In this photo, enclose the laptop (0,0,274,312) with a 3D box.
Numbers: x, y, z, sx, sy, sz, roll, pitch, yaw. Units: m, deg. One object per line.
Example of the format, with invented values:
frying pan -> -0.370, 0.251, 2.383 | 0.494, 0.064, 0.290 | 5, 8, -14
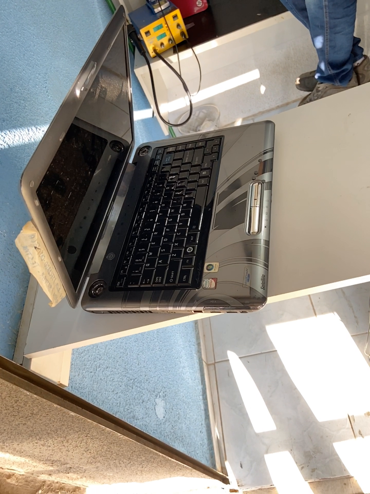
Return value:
laptop -> -0.038, -0.130, 0.513 | 0.258, 0.236, 0.359 | -5, 52, 22
